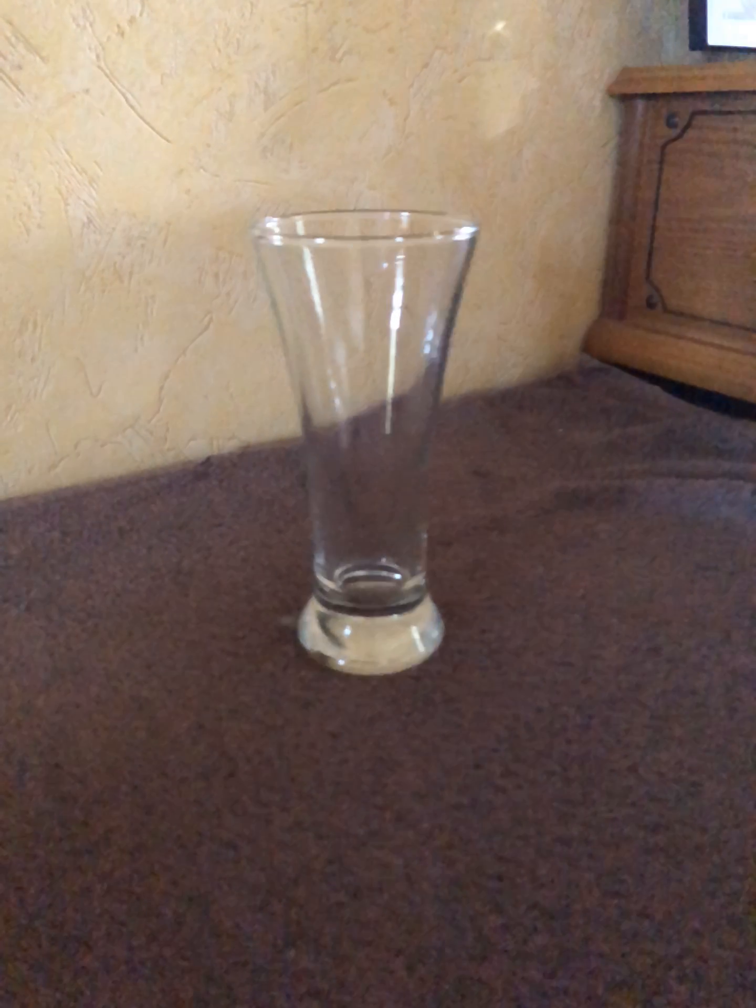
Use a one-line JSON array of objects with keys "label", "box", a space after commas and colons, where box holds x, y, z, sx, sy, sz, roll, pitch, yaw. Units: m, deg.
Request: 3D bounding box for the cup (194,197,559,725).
[{"label": "cup", "box": [0.002, -0.021, 0.284, 0.080, 0.149, 0.080, 0, 25, 0]}]
